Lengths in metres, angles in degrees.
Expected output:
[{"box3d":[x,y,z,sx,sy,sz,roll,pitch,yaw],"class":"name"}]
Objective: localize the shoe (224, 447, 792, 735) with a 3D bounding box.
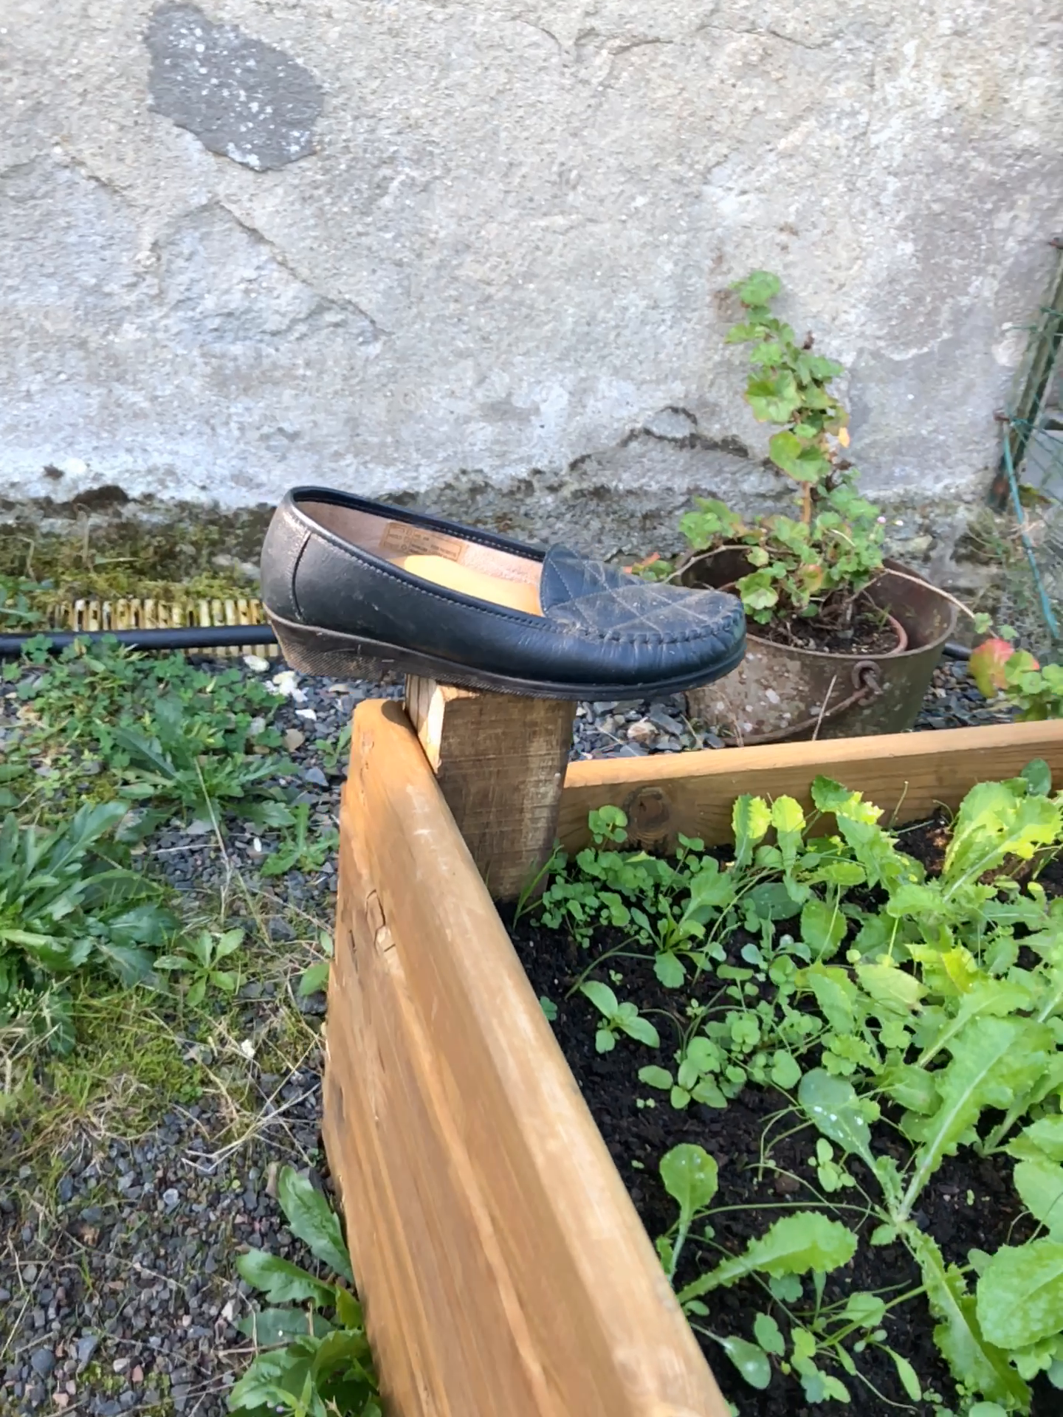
[{"box3d":[-0.008,-0.064,0.590,0.260,0.089,0.101,6,30,7],"class":"shoe"}]
